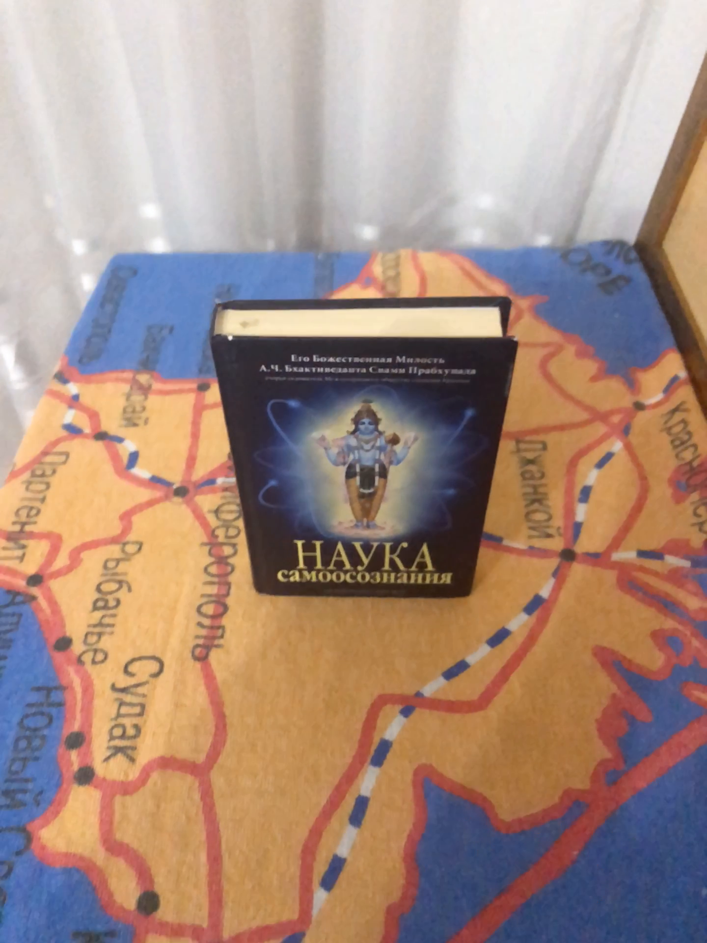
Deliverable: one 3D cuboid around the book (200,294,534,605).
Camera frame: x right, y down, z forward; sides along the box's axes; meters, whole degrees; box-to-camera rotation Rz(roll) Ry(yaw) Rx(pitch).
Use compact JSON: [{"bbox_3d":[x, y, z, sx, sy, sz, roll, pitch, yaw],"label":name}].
[{"bbox_3d":[0.006,0.001,0.413,0.140,0.205,0.030,0,48,0],"label":"book"}]
